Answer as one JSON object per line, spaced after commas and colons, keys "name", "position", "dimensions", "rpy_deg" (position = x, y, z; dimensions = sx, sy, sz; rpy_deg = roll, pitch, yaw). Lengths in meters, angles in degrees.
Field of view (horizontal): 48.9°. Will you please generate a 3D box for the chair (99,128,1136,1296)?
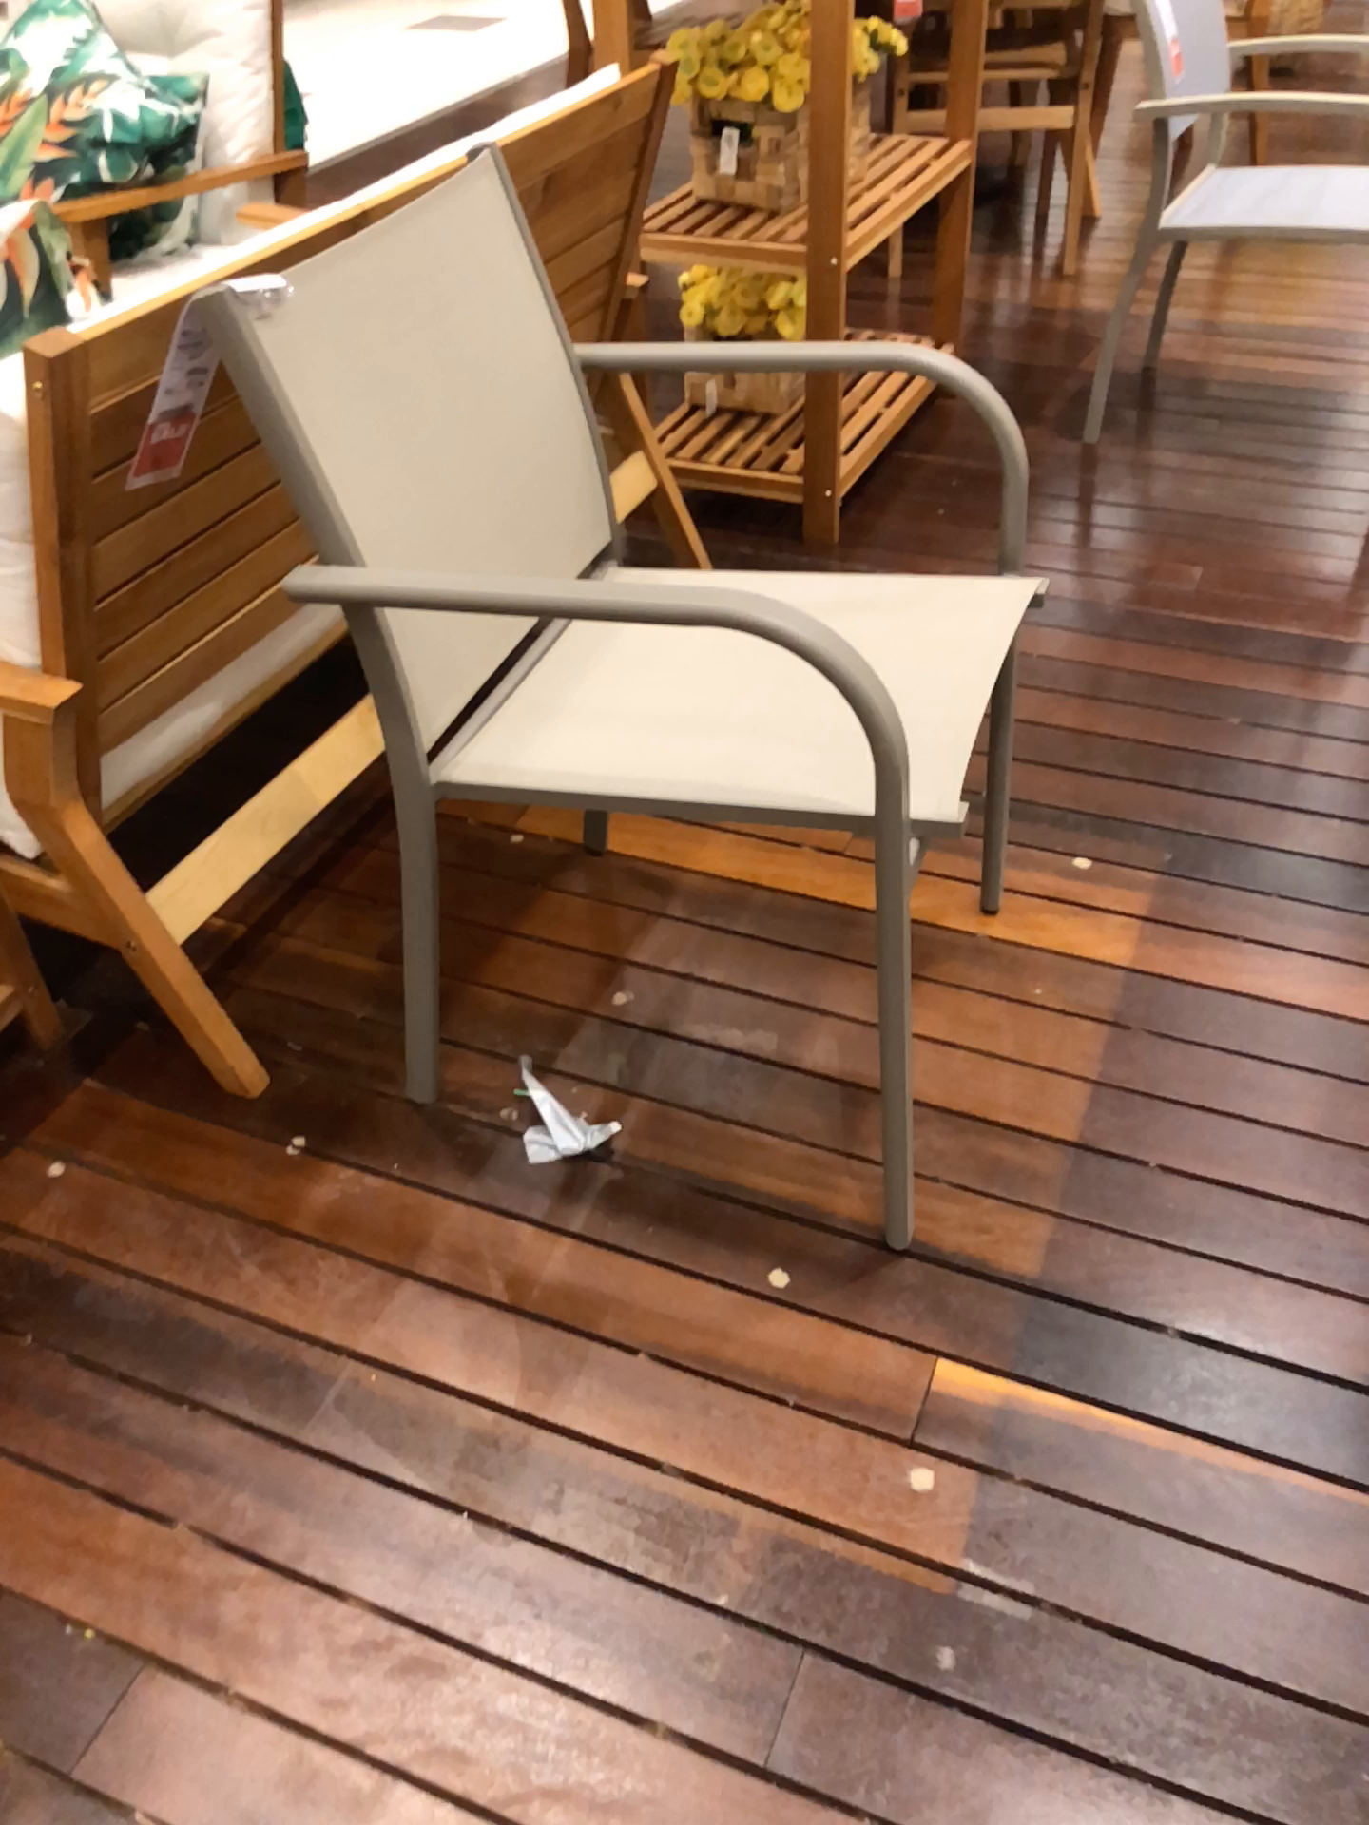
{"name": "chair", "position": [0.010, -0.214, 1.407], "dimensions": [0.610, 0.794, 0.624], "rpy_deg": [11, 41, 17]}
